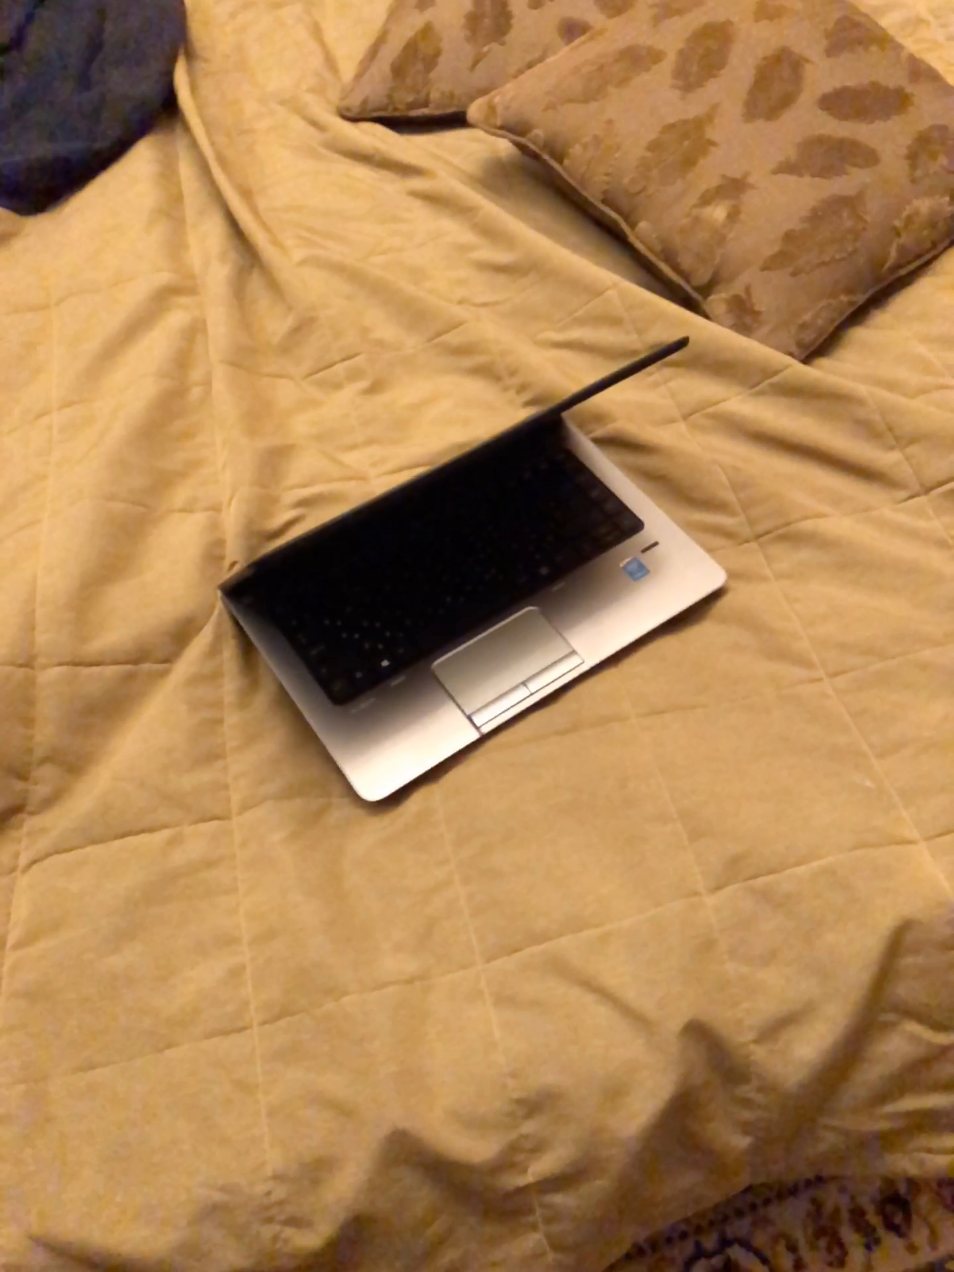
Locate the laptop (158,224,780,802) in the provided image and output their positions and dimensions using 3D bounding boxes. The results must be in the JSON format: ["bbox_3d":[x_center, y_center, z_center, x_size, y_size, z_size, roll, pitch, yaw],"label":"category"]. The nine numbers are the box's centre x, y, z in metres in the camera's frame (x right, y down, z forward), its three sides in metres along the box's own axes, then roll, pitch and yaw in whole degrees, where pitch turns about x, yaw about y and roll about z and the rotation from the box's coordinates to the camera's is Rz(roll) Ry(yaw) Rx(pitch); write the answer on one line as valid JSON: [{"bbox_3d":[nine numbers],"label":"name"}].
[{"bbox_3d":[-0.004,-0.096,0.748,0.332,0.189,0.225,-31,60,-19],"label":"laptop"}]
